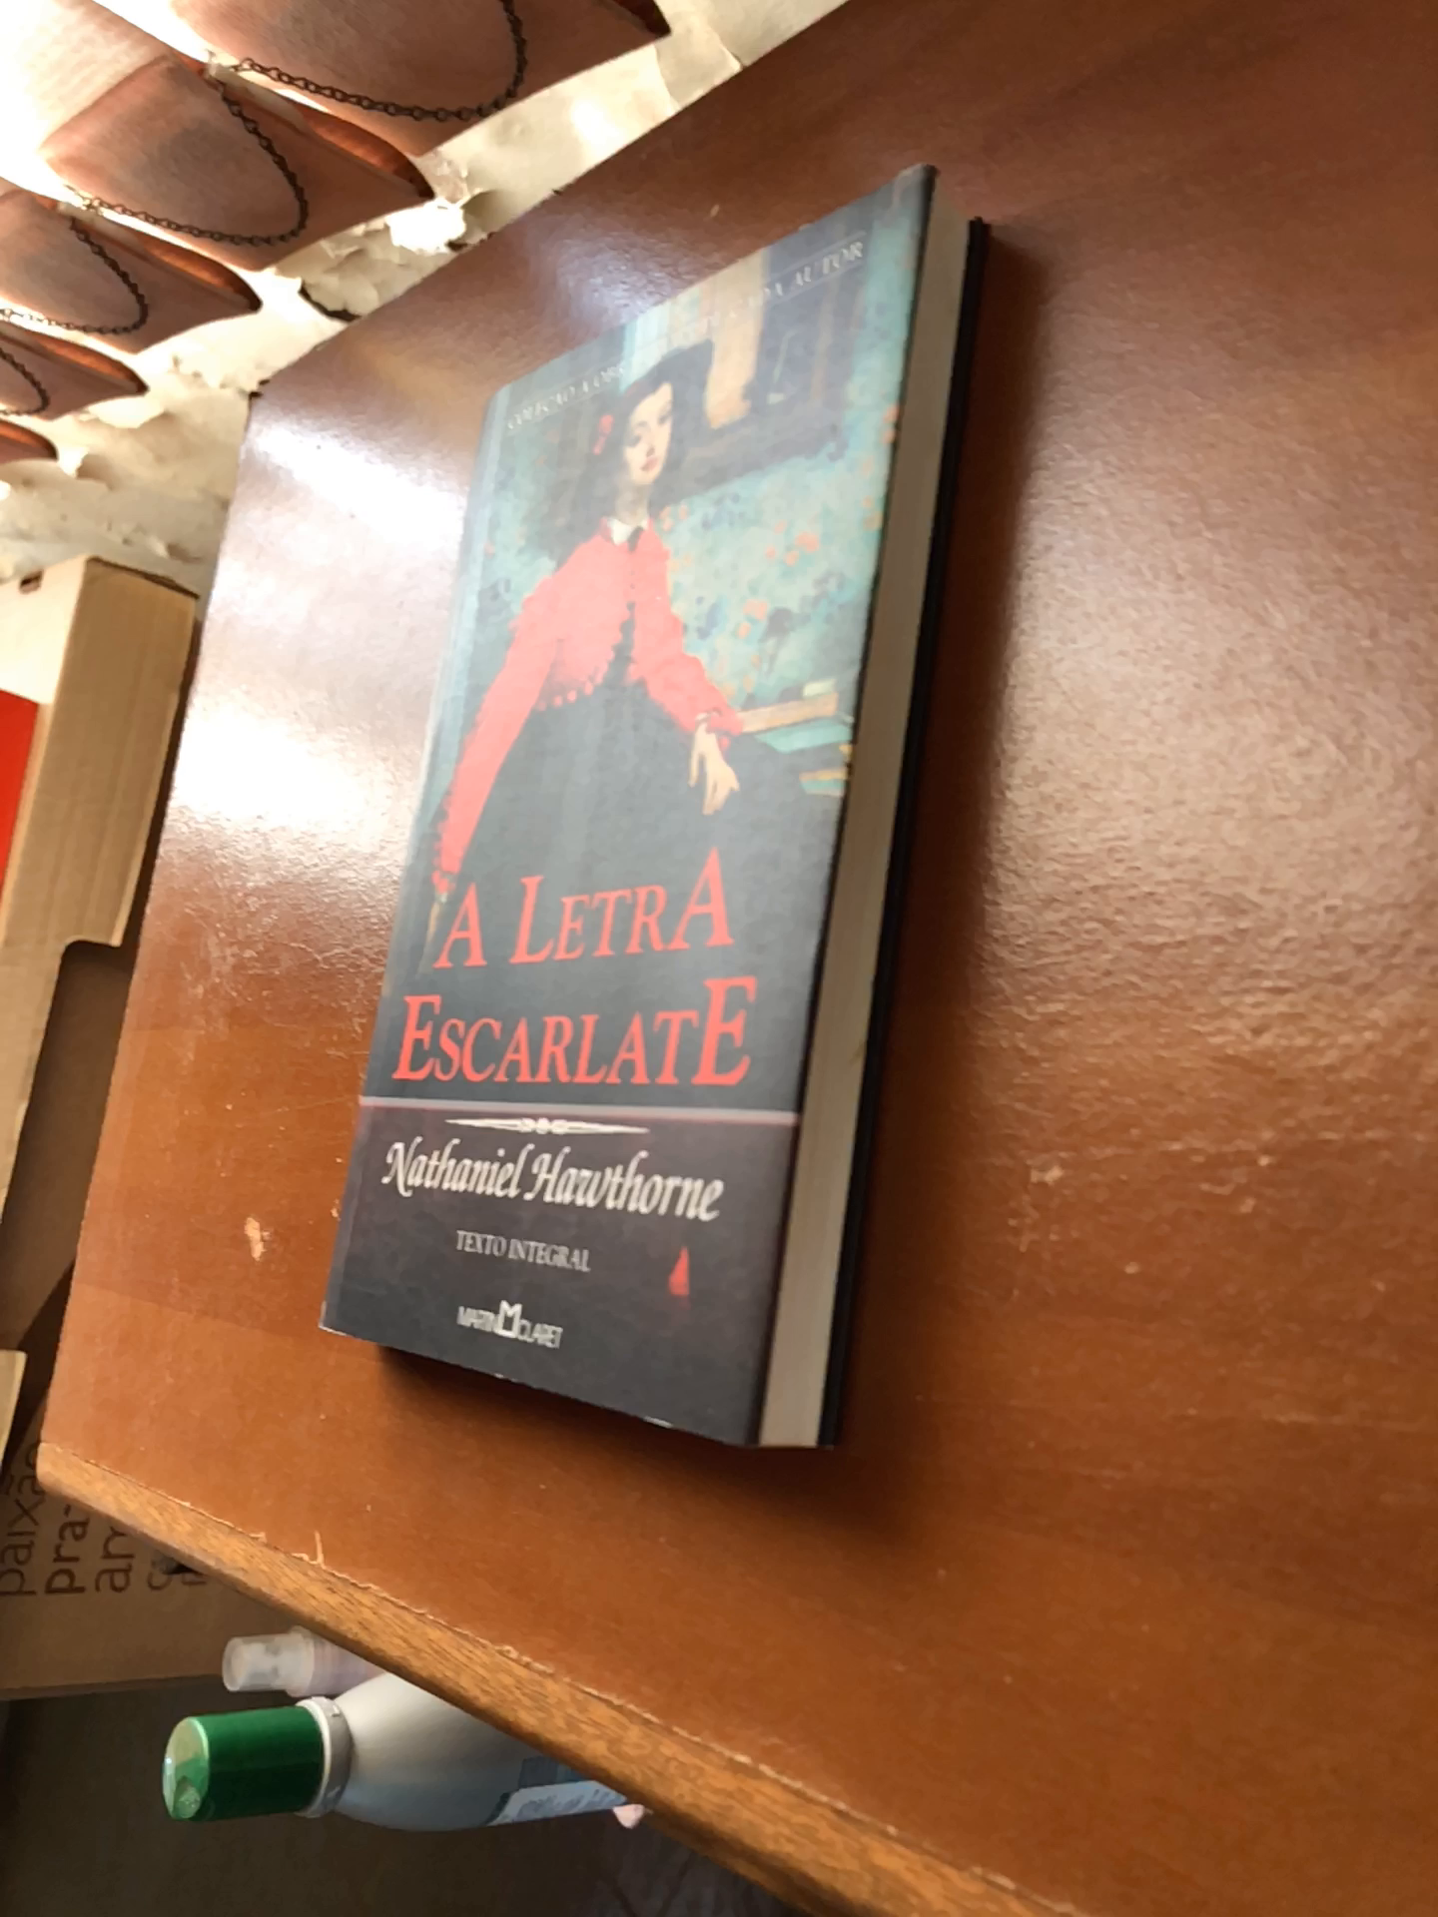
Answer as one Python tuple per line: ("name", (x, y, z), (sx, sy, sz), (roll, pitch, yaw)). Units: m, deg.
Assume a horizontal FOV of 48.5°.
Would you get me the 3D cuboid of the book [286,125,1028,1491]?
("book", (-0.014, -0.020, 0.232), (0.112, 0.015, 0.166), (-4, 73, 49))
